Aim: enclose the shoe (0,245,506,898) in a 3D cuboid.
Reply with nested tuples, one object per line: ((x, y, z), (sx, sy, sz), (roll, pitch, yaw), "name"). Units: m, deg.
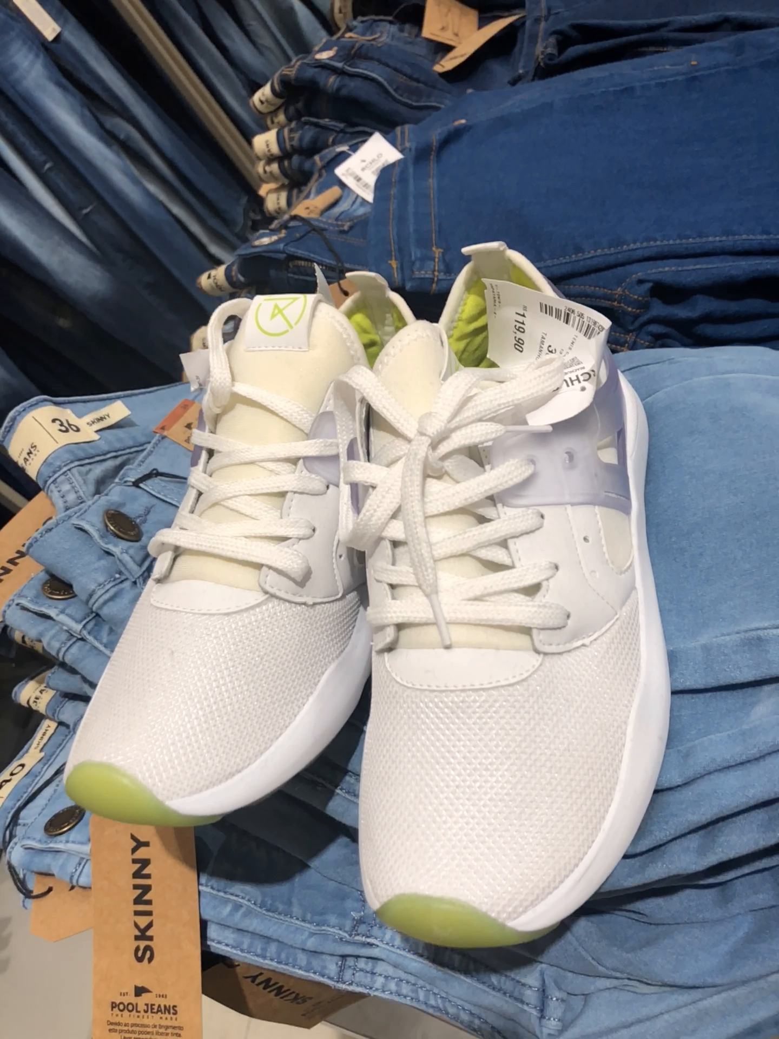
((-0.048, -0.011, 0.350), (0.110, 0.119, 0.260), (6, 35, 24), "shoe")

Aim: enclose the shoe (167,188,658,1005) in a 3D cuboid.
((0.030, 0.011, 0.298), (0.100, 0.089, 0.251), (-9, 49, 28), "shoe")
